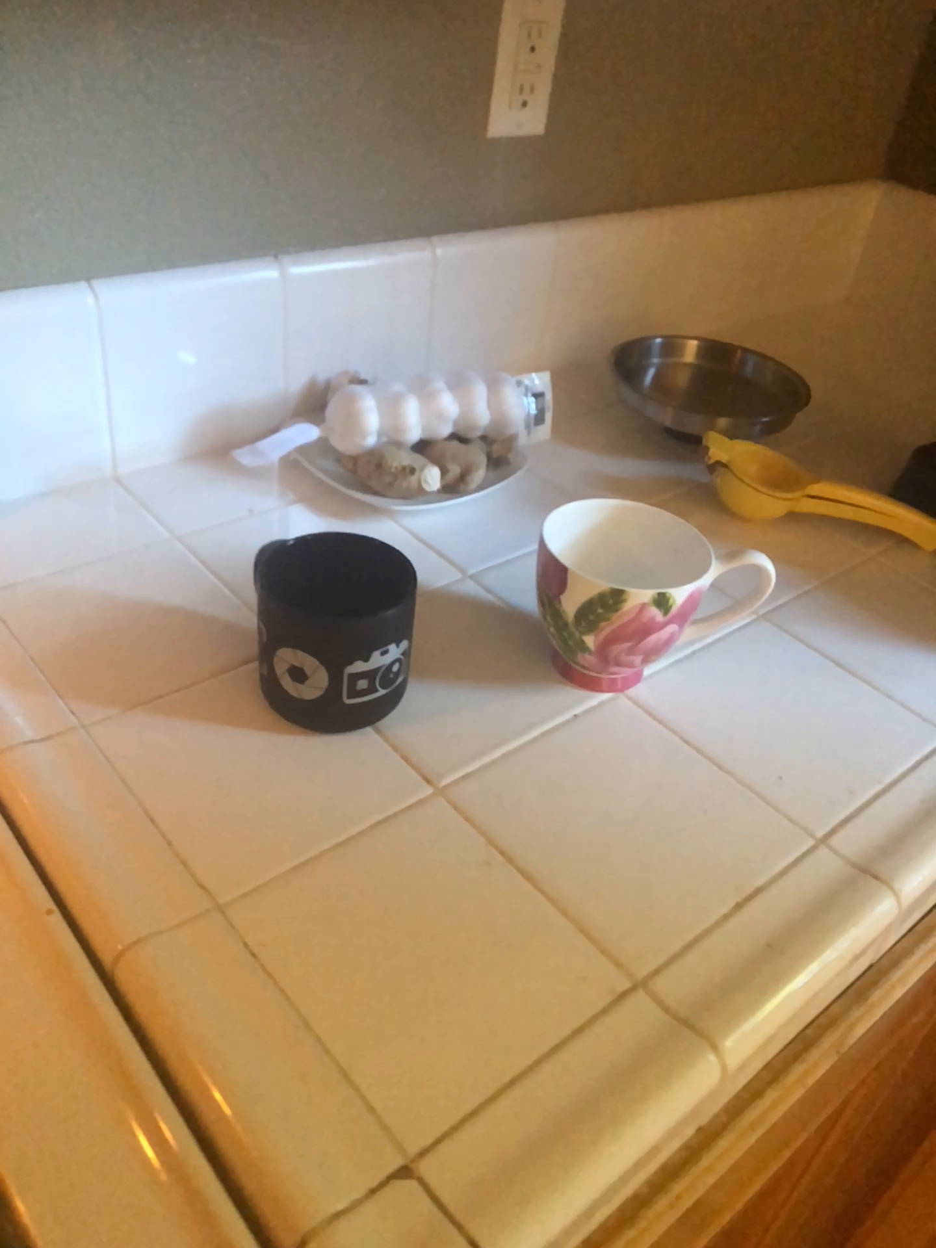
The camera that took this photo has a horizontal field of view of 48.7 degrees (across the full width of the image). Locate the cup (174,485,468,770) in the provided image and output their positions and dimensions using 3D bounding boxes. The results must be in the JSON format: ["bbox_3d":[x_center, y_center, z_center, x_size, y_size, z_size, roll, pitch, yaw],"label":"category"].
[{"bbox_3d":[-0.089,-0.004,0.611,0.140,0.079,0.101,35,44,31],"label":"cup"}]

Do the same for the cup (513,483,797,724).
[{"bbox_3d":[0.112,-0.015,0.653,0.150,0.089,0.101,9,36,0],"label":"cup"}]
